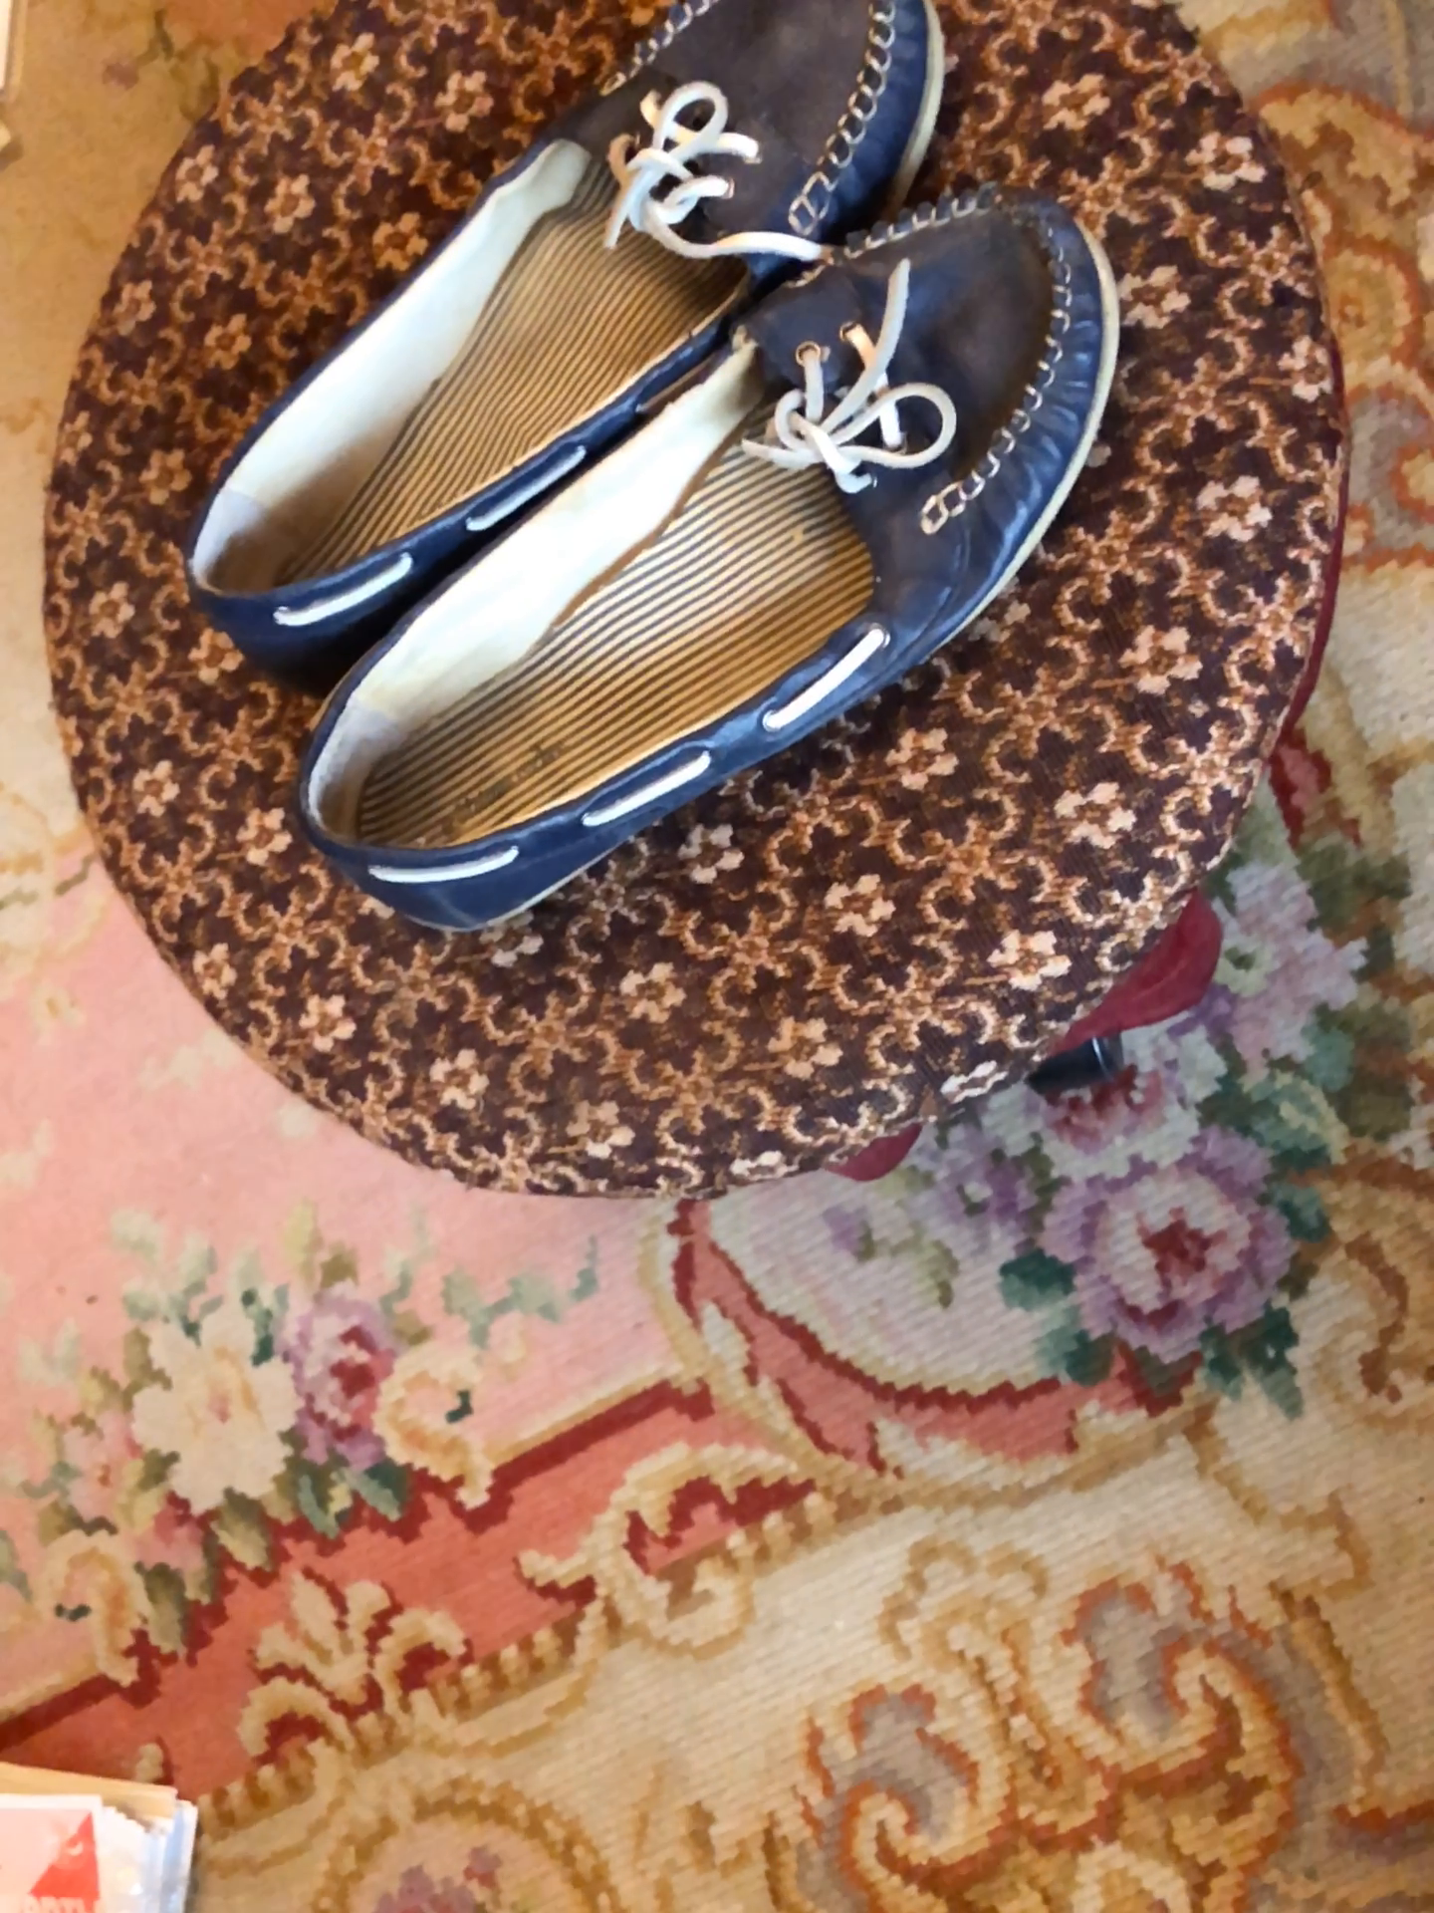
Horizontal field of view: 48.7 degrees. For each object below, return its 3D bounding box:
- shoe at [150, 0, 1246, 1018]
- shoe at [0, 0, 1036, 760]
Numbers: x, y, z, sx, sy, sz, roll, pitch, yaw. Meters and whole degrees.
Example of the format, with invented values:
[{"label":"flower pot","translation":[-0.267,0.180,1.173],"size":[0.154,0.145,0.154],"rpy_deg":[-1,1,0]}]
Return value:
[{"label":"shoe","translation":[-0.003,-0.099,0.396],"size":[0.250,0.100,0.090],"rpy_deg":[-39,81,14]},{"label":"shoe","translation":[-0.049,-0.176,0.403],"size":[0.250,0.090,0.090],"rpy_deg":[-41,74,8]}]
